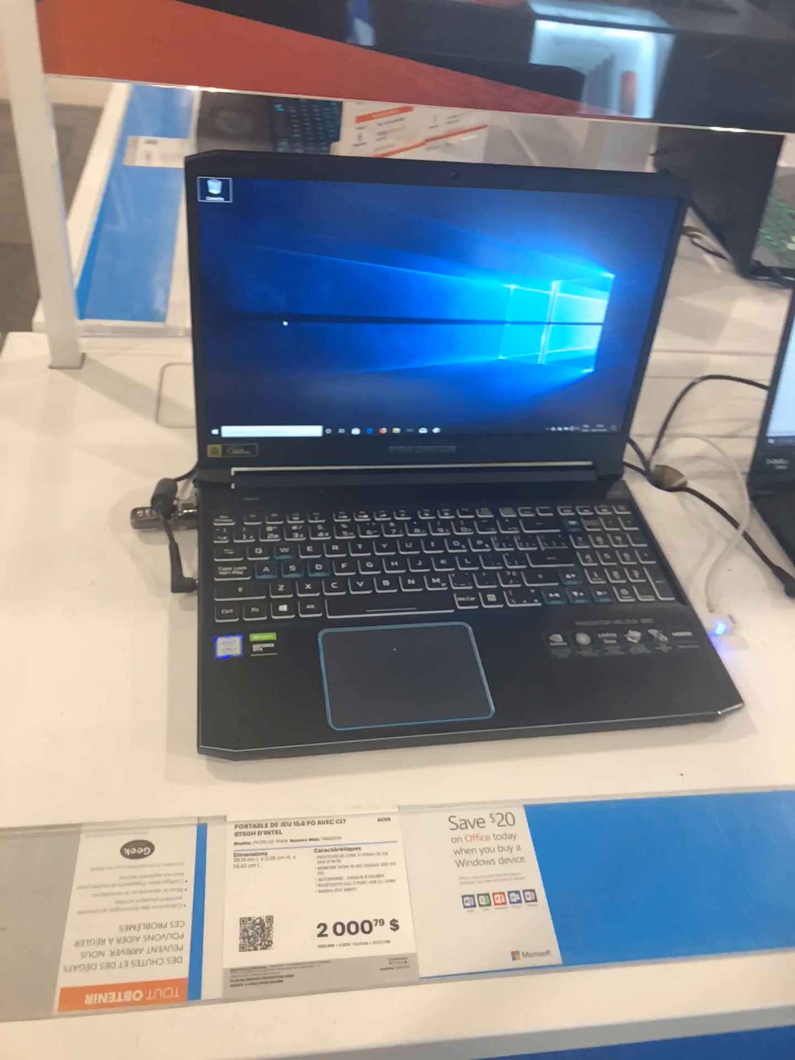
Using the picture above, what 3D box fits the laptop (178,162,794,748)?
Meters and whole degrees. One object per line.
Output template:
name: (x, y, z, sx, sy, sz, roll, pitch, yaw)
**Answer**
laptop: (0.048, -0.059, 0.565, 0.348, 0.230, 0.274, -2, 44, -11)
